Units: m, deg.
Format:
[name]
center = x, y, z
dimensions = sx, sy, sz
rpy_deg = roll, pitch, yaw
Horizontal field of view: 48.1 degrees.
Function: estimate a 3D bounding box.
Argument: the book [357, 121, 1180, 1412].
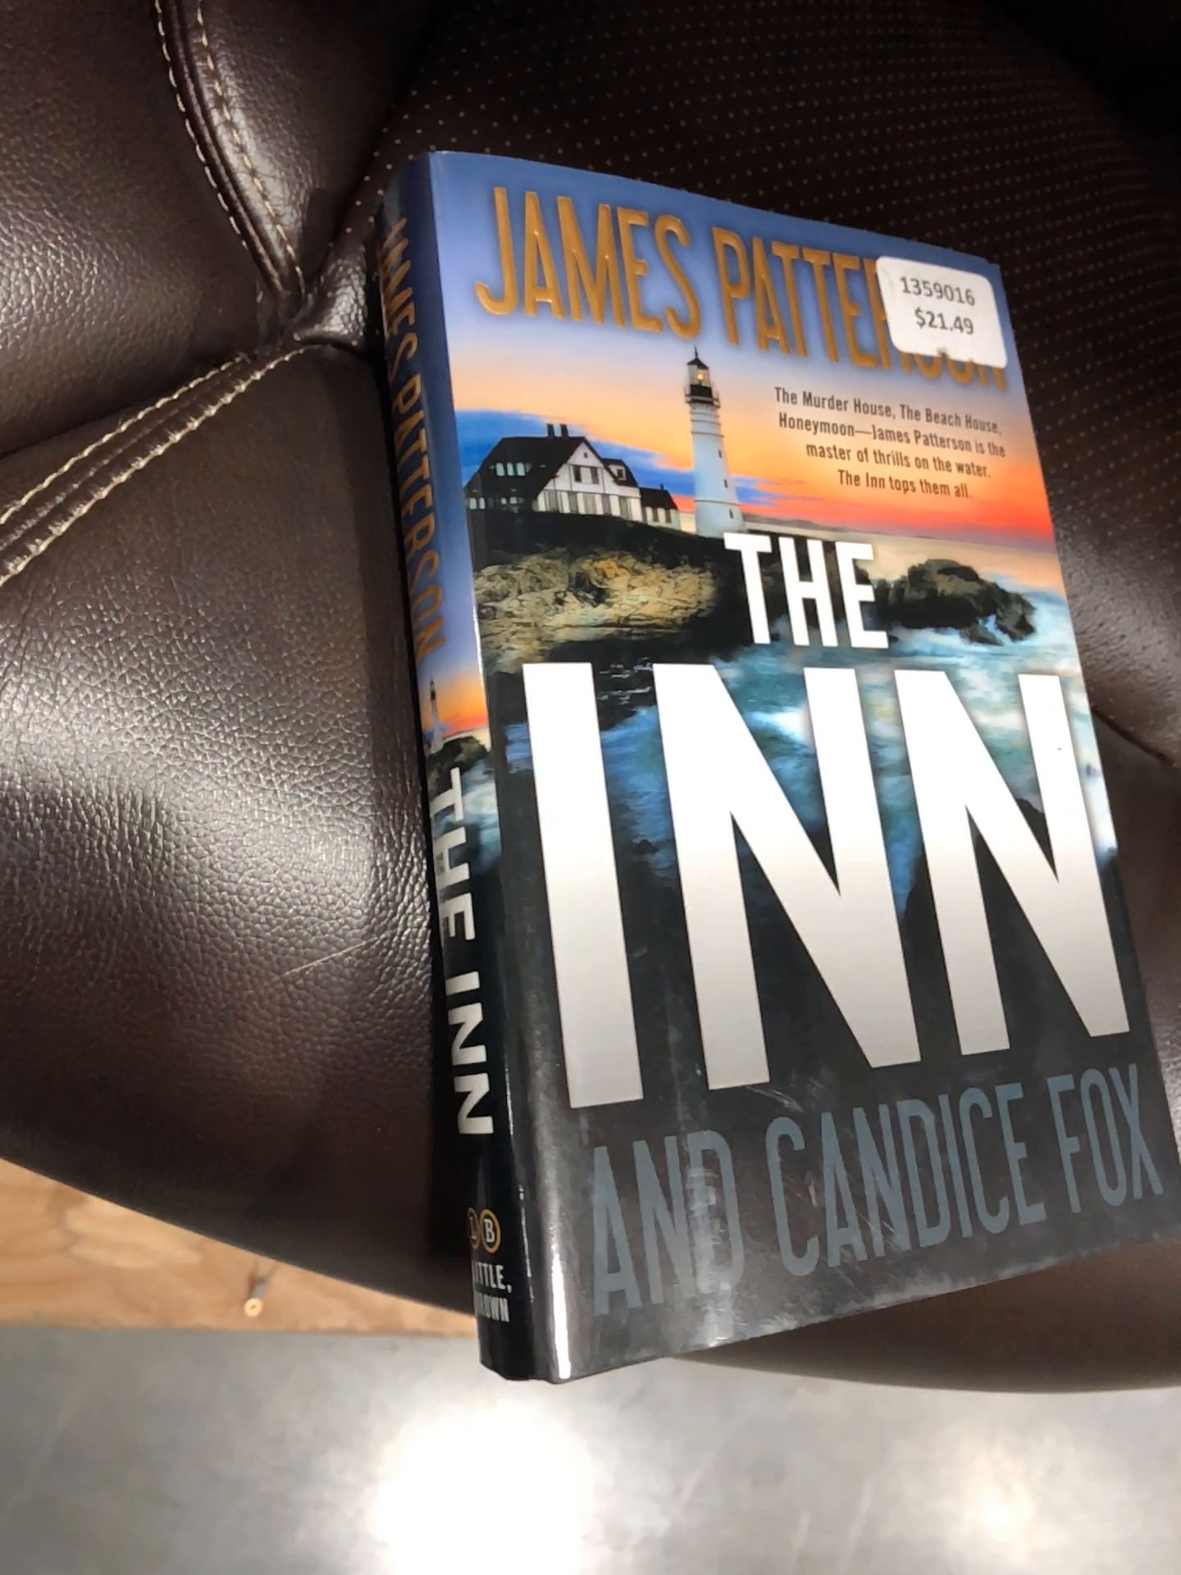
[book]
center = 0.045, -0.013, 0.302
dimensions = 0.171, 0.040, 0.250
rpy_deg = -1, 77, -25
